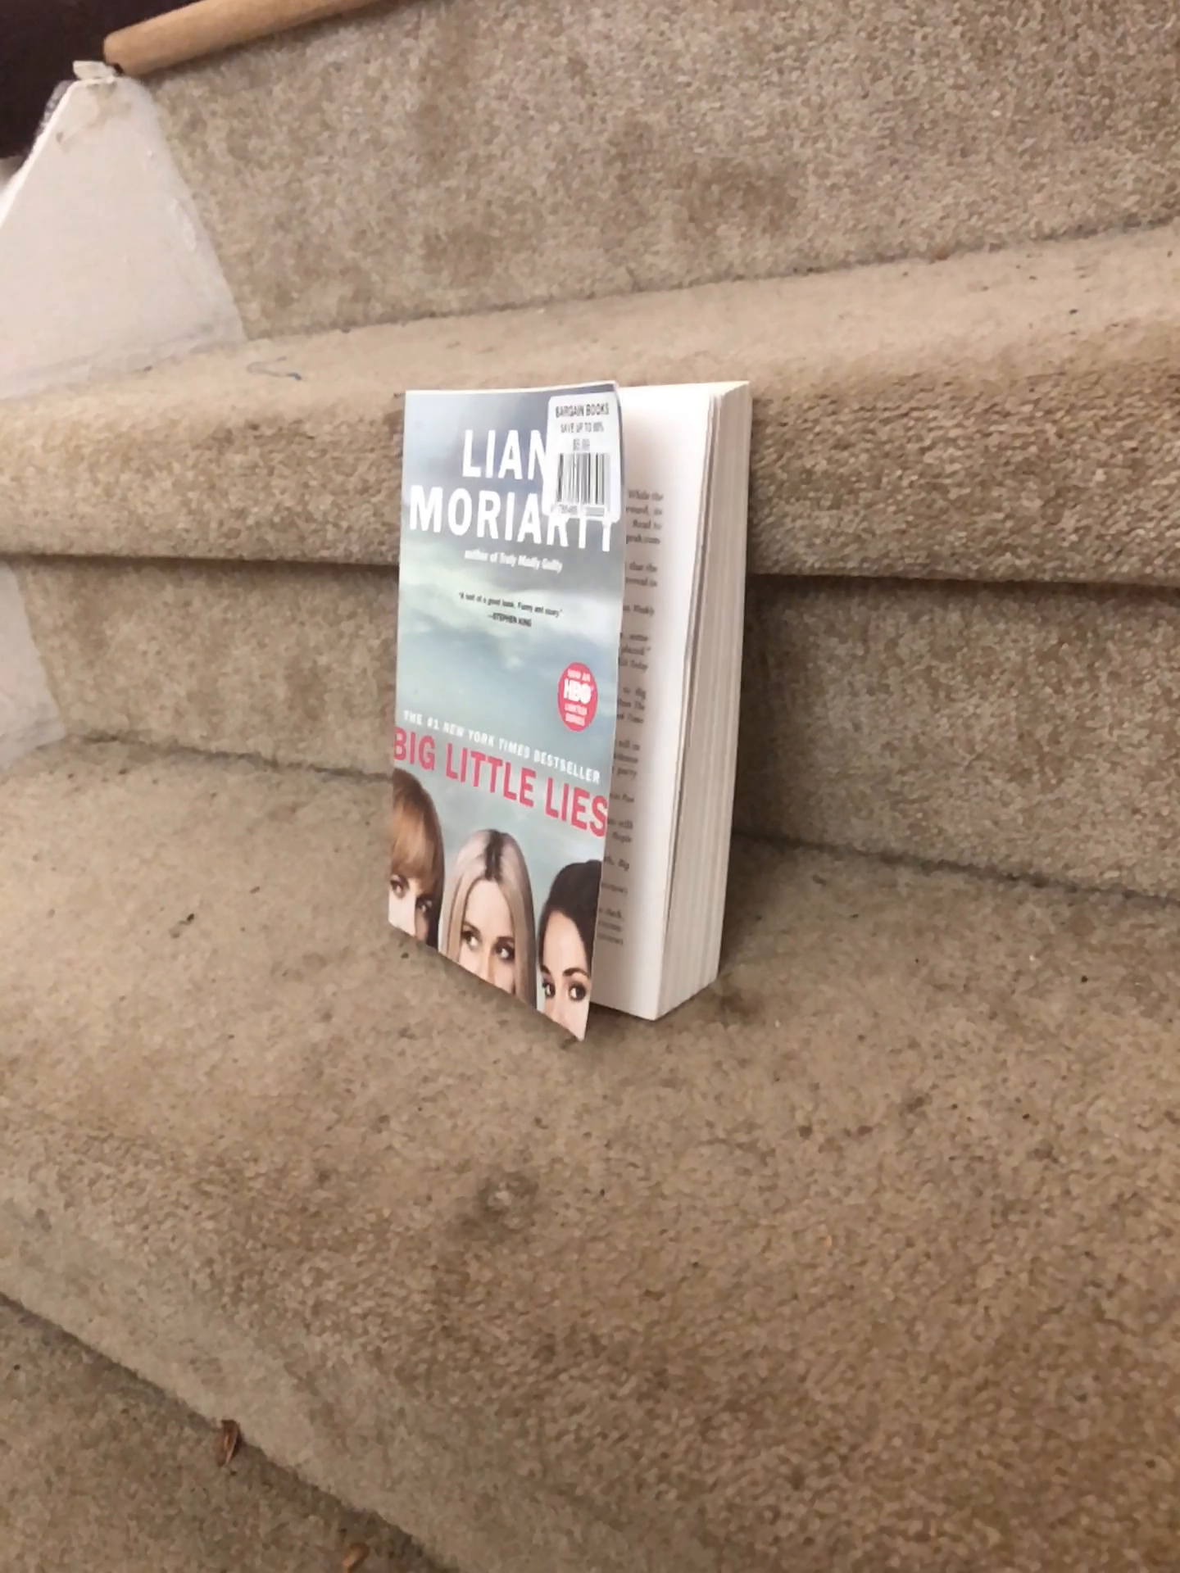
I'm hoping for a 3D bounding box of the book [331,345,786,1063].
[{"bbox_3d":[-0.022,-0.037,0.448,0.050,0.209,0.161,-7,16,-43],"label":"book"}]
